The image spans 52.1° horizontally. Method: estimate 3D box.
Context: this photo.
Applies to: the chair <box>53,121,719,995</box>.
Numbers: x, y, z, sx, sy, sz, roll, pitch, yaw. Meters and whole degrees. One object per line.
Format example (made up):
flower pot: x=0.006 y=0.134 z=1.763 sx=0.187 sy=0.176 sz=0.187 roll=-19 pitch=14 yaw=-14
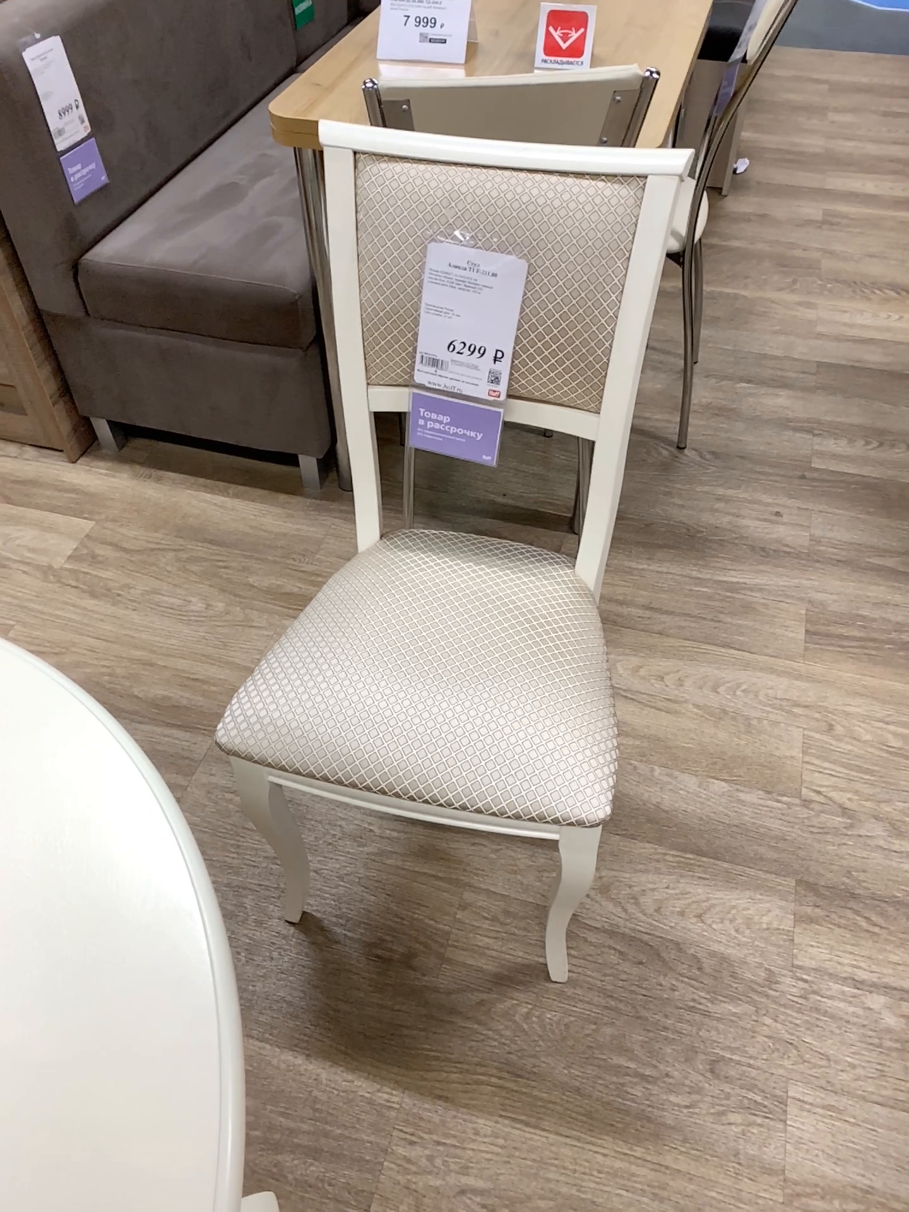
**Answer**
chair: x=-0.007 y=0.003 z=1.150 sx=0.460 sy=0.925 sz=0.512 roll=9 pitch=48 yaw=9
